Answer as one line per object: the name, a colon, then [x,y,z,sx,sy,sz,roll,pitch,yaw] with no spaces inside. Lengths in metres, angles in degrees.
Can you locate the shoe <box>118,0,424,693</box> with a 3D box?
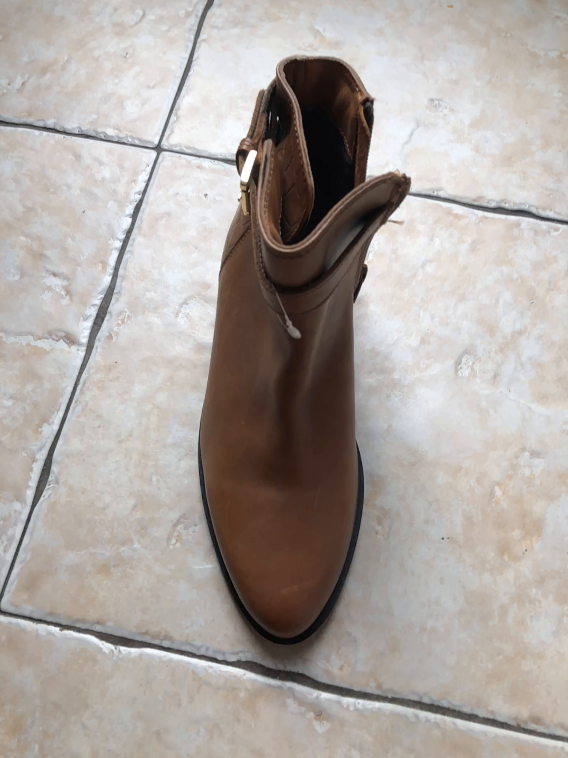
shoe: [0.007,-0.019,0.320,0.090,0.180,0.301,3,69,2]
